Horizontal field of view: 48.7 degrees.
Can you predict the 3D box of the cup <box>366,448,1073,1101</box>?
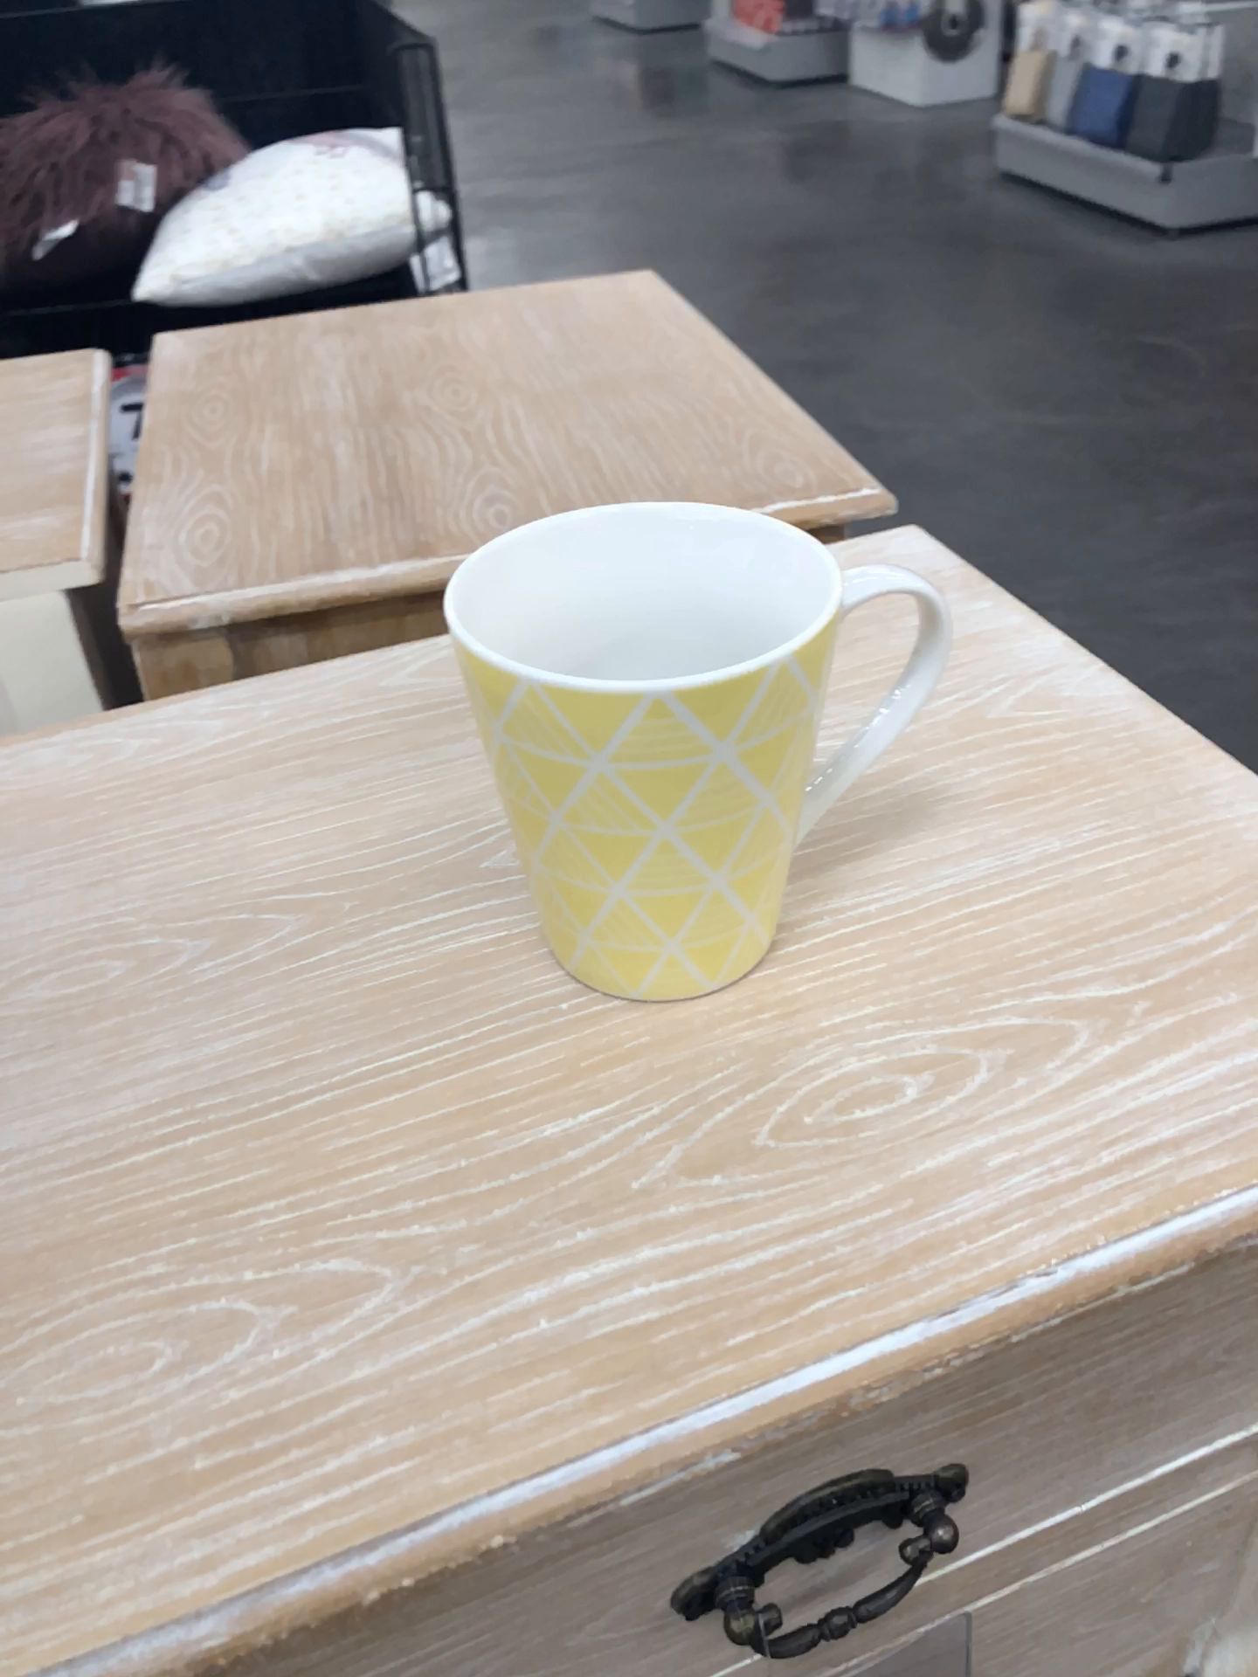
[{"bbox_3d":[0.018,-0.023,0.337,0.125,0.090,0.103,-18,38,-18],"label":"cup"}]
